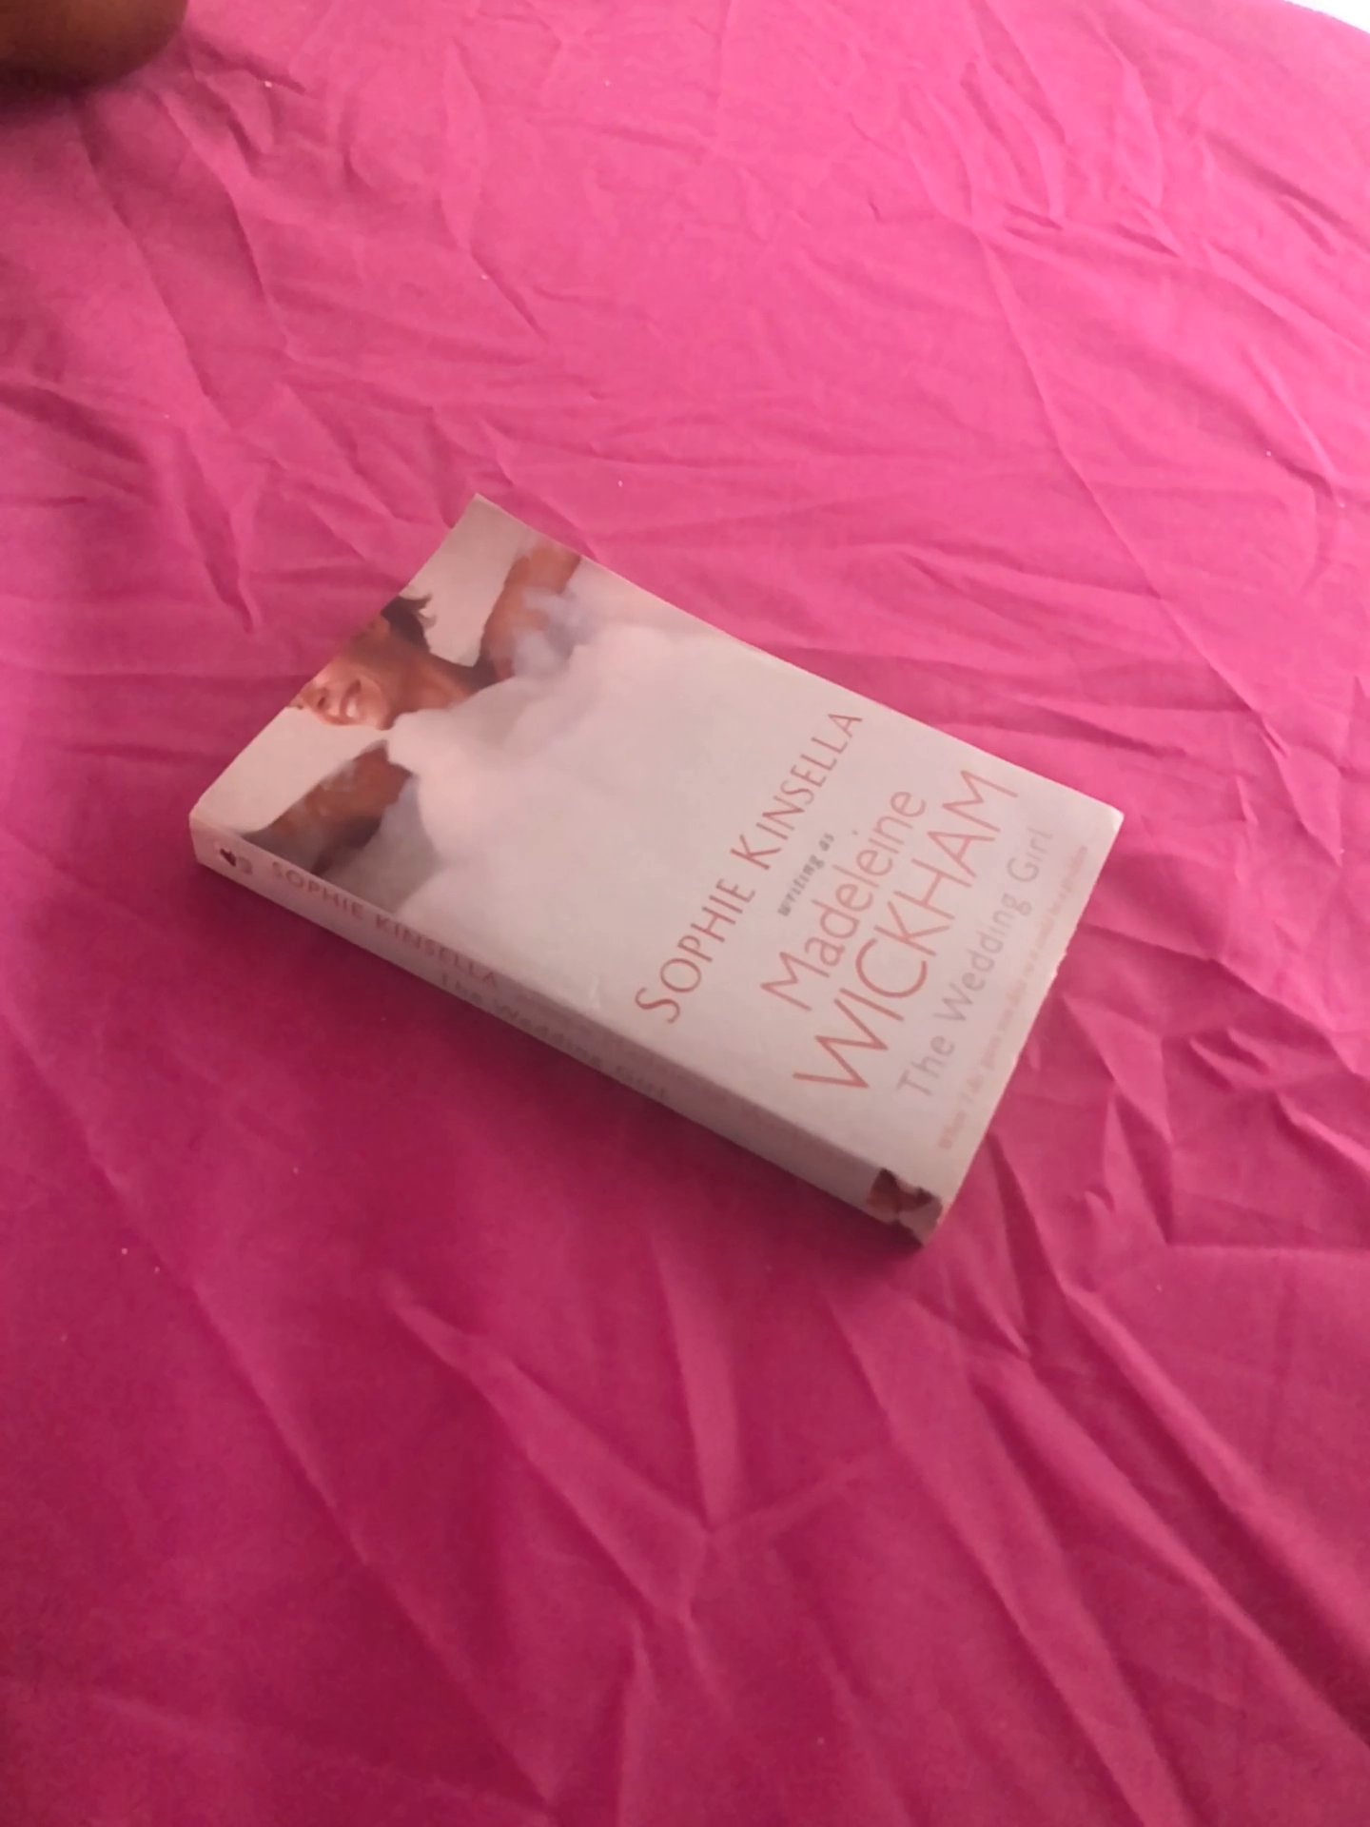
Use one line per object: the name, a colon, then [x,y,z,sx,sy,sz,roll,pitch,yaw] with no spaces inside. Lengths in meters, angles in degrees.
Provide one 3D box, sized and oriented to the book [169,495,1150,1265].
book: [-0.001,-0.020,0.379,0.201,0.027,0.135,27,54,11]
